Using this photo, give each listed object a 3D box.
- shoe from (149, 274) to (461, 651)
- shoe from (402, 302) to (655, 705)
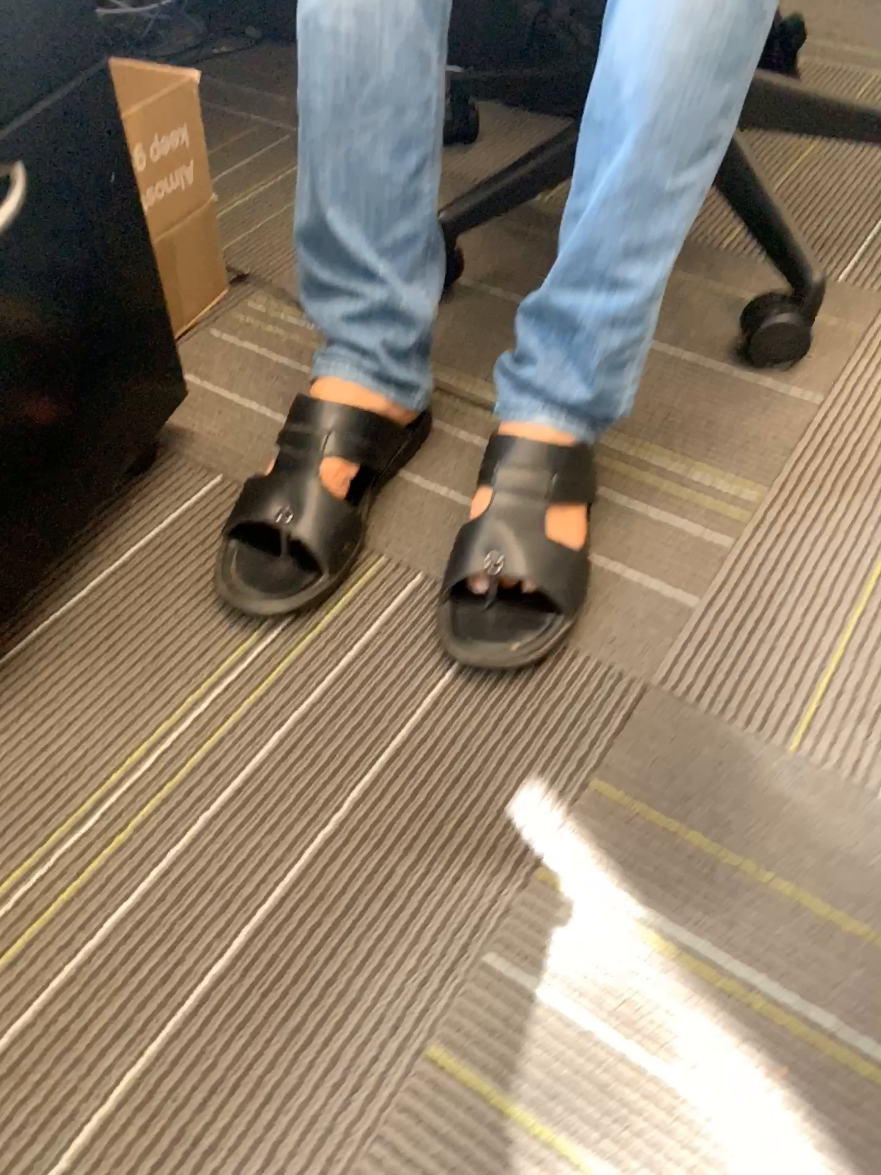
[{"bbox_3d":[-0.091,-0.118,0.748,0.118,0.116,0.317,14,52,14],"label":"shoe"},{"bbox_3d":[0.079,-0.081,0.713,0.118,0.116,0.317,12,51,12],"label":"shoe"}]
